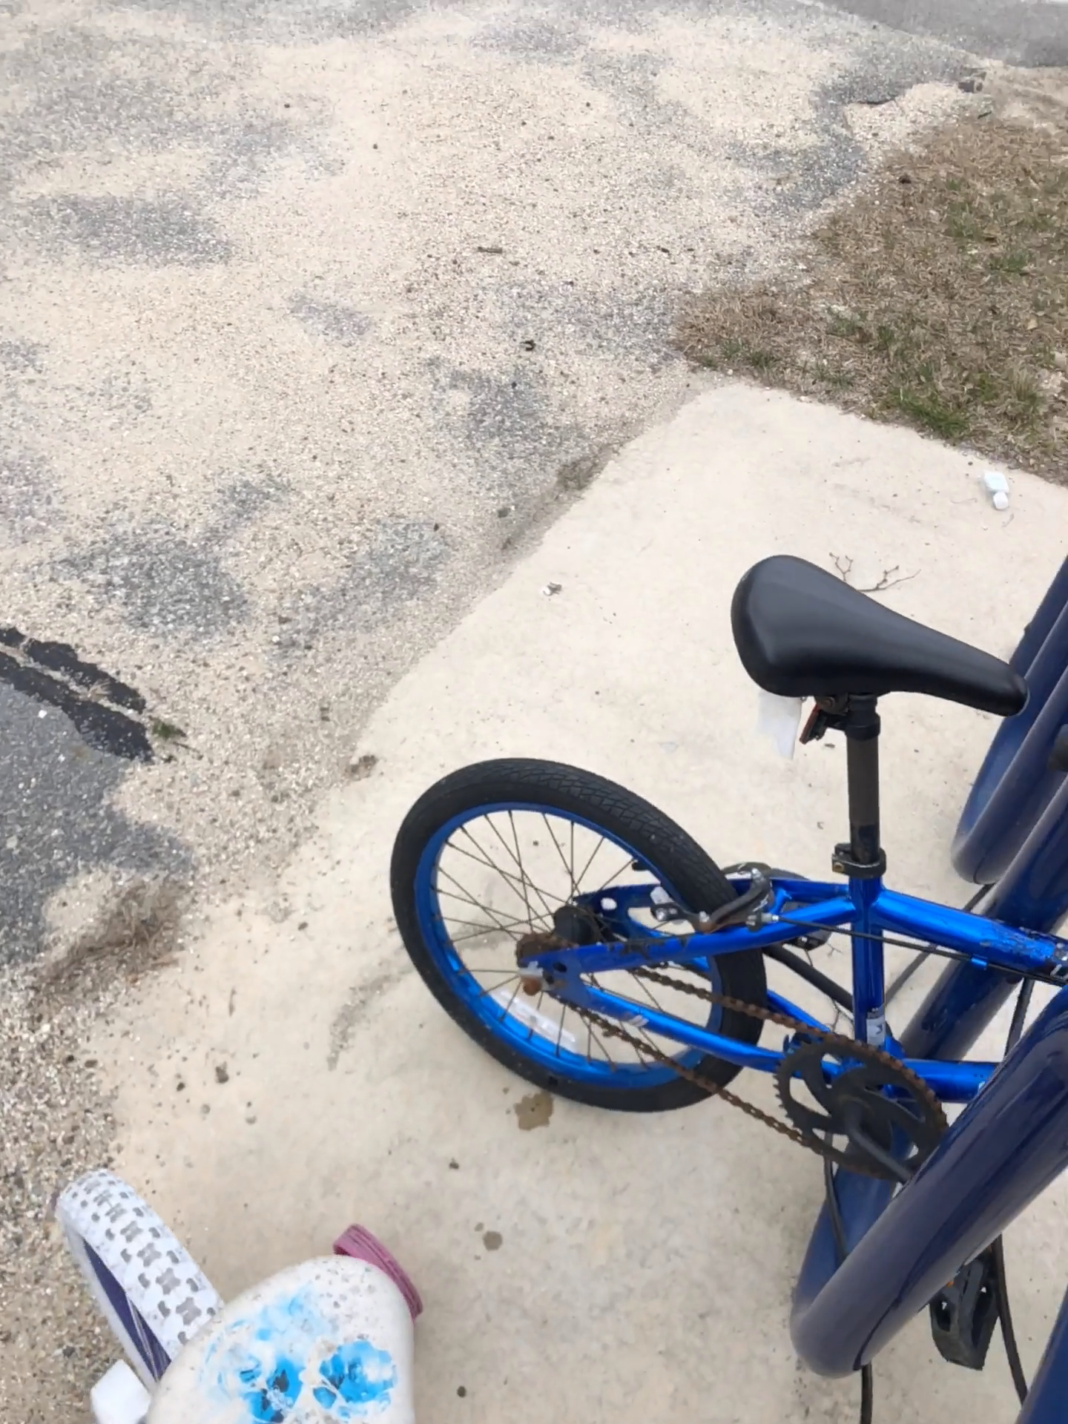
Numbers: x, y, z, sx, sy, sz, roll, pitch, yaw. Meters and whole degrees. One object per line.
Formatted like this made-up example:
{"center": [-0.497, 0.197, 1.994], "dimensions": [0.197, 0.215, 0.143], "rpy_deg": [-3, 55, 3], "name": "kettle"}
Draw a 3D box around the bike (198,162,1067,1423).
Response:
{"center": [0.308, 0.210, 1.003], "dimensions": [1.030, 0.841, 0.624], "rpy_deg": [33, 51, 26], "name": "bike"}
